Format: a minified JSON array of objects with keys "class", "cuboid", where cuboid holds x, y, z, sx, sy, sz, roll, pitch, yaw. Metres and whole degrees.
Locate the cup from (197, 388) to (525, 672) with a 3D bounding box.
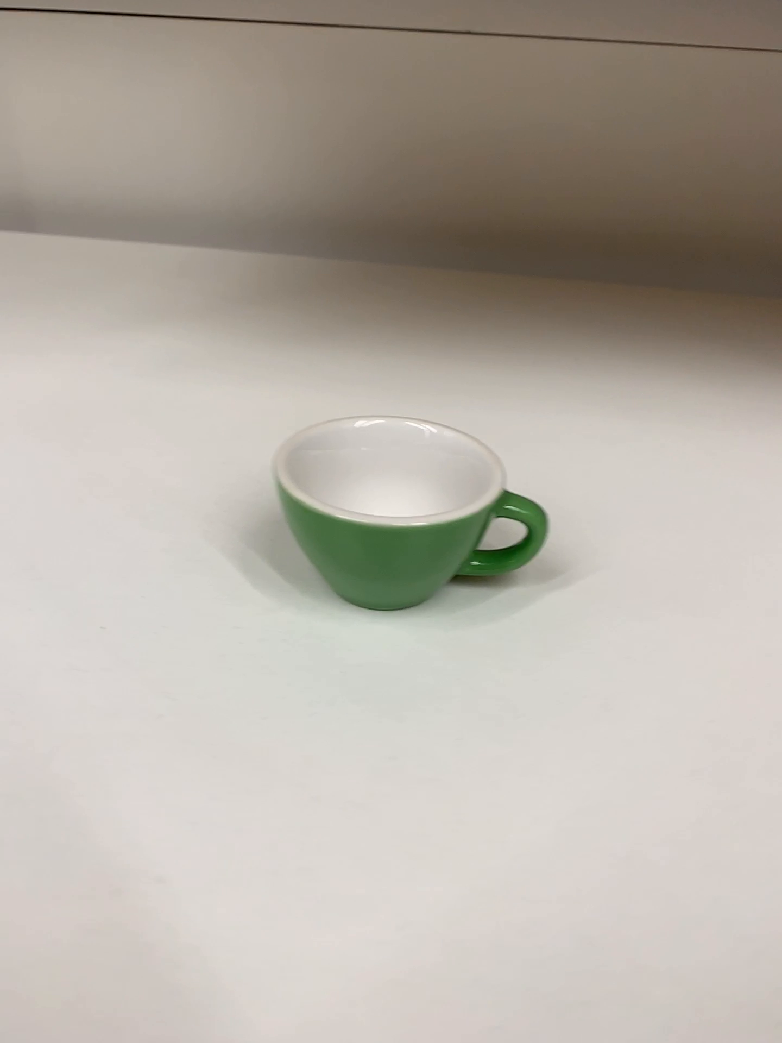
[{"class":"cup","cuboid":[-0.004,-0.001,0.208,0.070,0.040,0.060,6,32,4]}]
